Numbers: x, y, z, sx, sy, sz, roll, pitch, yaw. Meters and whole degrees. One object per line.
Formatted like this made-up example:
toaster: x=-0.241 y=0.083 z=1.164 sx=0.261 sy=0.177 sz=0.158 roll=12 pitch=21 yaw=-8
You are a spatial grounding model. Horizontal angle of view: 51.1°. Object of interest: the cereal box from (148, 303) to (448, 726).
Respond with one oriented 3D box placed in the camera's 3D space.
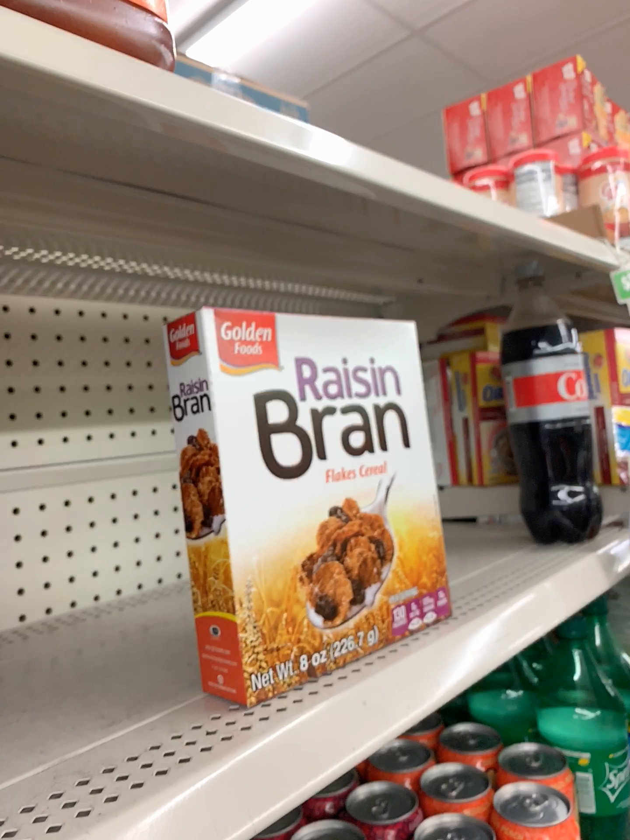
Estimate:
cereal box: x=-0.002 y=0.046 z=0.441 sx=0.190 sy=0.230 sz=0.050 roll=-4 pitch=-4 yaw=-43
